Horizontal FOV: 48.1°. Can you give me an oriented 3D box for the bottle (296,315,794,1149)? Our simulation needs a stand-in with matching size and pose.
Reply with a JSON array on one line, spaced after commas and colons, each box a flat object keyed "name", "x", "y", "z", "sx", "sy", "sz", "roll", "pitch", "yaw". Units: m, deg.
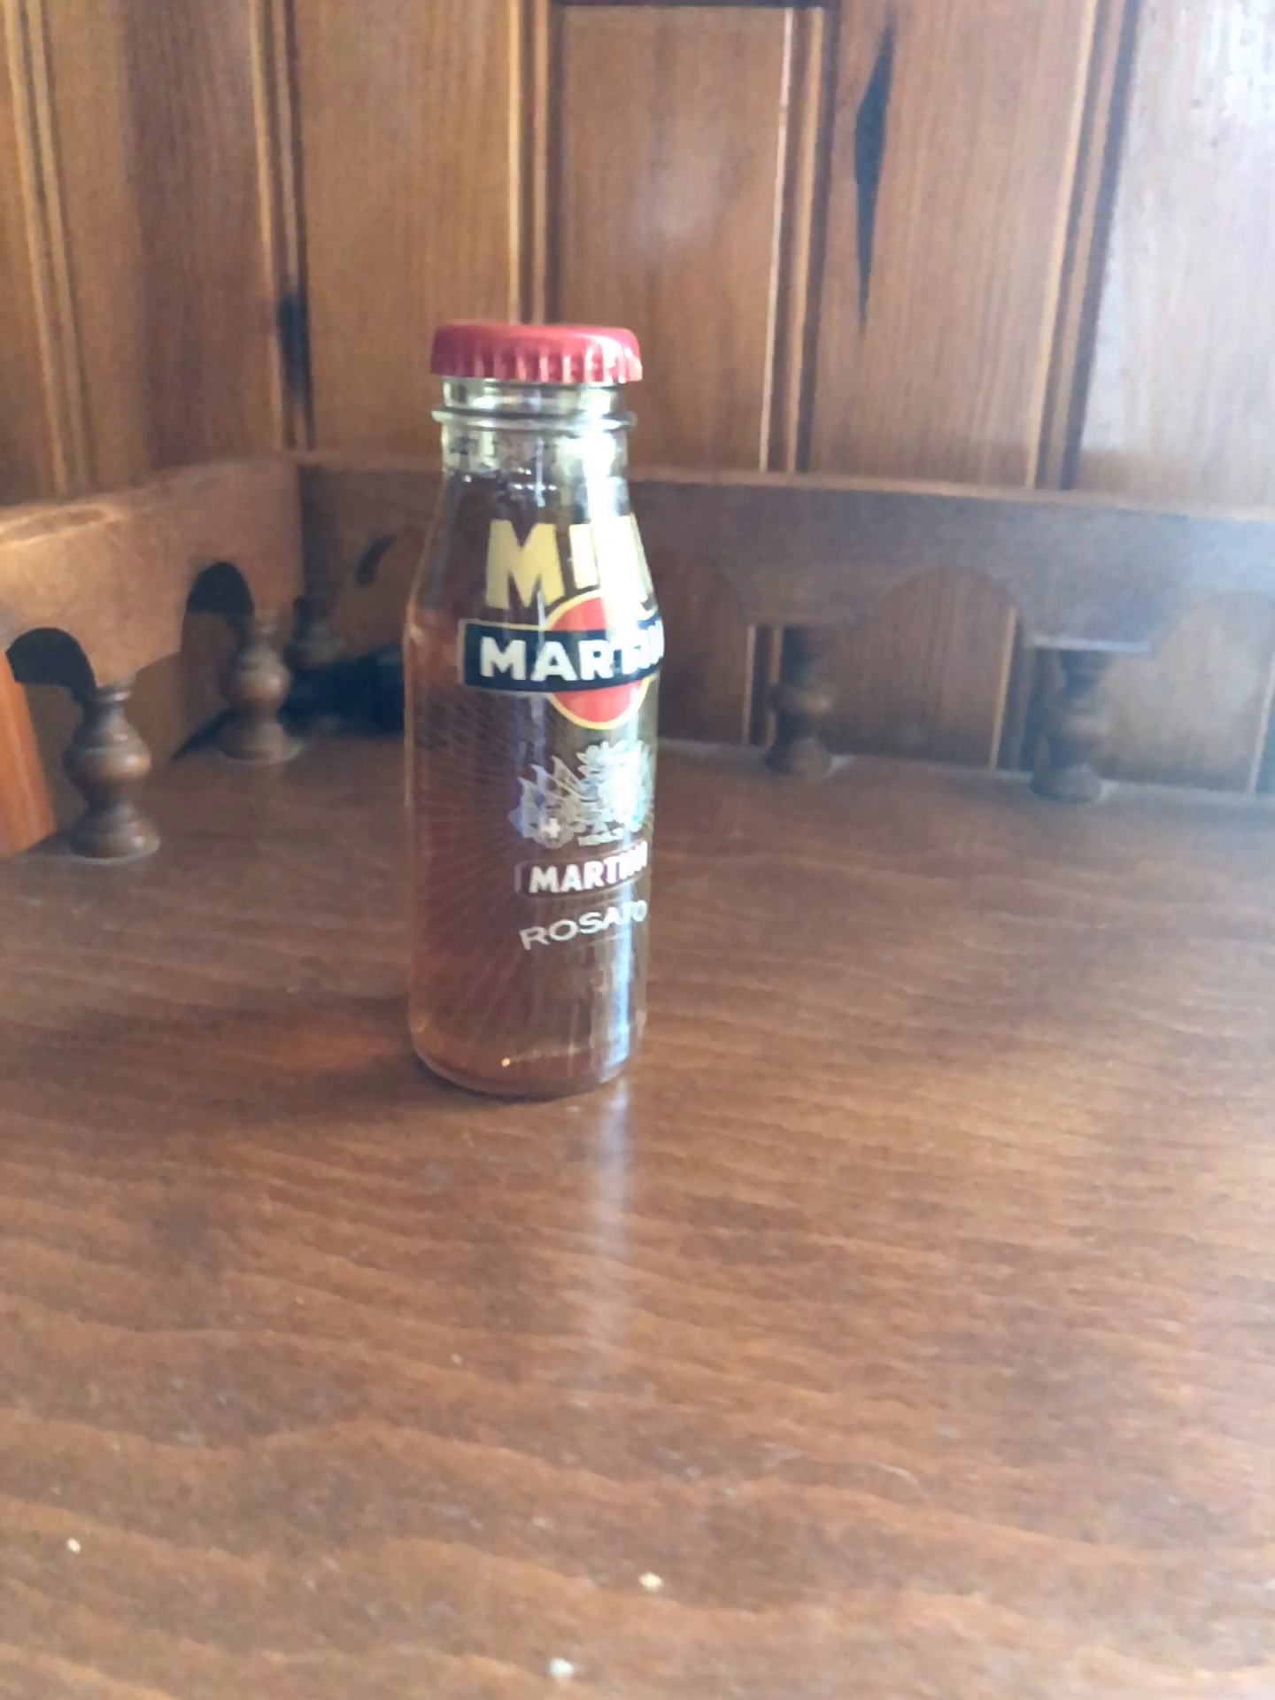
[{"name": "bottle", "x": -0.016, "y": -0.021, "z": 0.217, "sx": 0.050, "sy": 0.109, "sz": 0.050, "roll": 2, "pitch": 22, "yaw": -1}]
